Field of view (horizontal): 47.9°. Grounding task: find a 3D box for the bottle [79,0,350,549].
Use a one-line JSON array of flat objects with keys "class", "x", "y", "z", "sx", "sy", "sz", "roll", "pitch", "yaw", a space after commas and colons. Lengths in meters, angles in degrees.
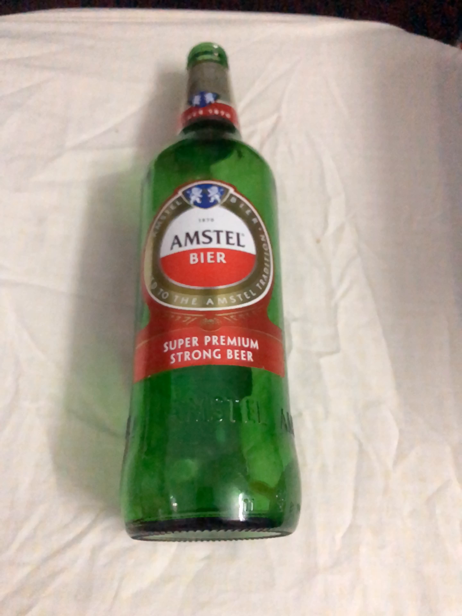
[{"class": "bottle", "x": -0.011, "y": -0.065, "z": 0.297, "sx": 0.090, "sy": 0.080, "sz": 0.361, "roll": 1, "pitch": 60, "yaw": -4}]
